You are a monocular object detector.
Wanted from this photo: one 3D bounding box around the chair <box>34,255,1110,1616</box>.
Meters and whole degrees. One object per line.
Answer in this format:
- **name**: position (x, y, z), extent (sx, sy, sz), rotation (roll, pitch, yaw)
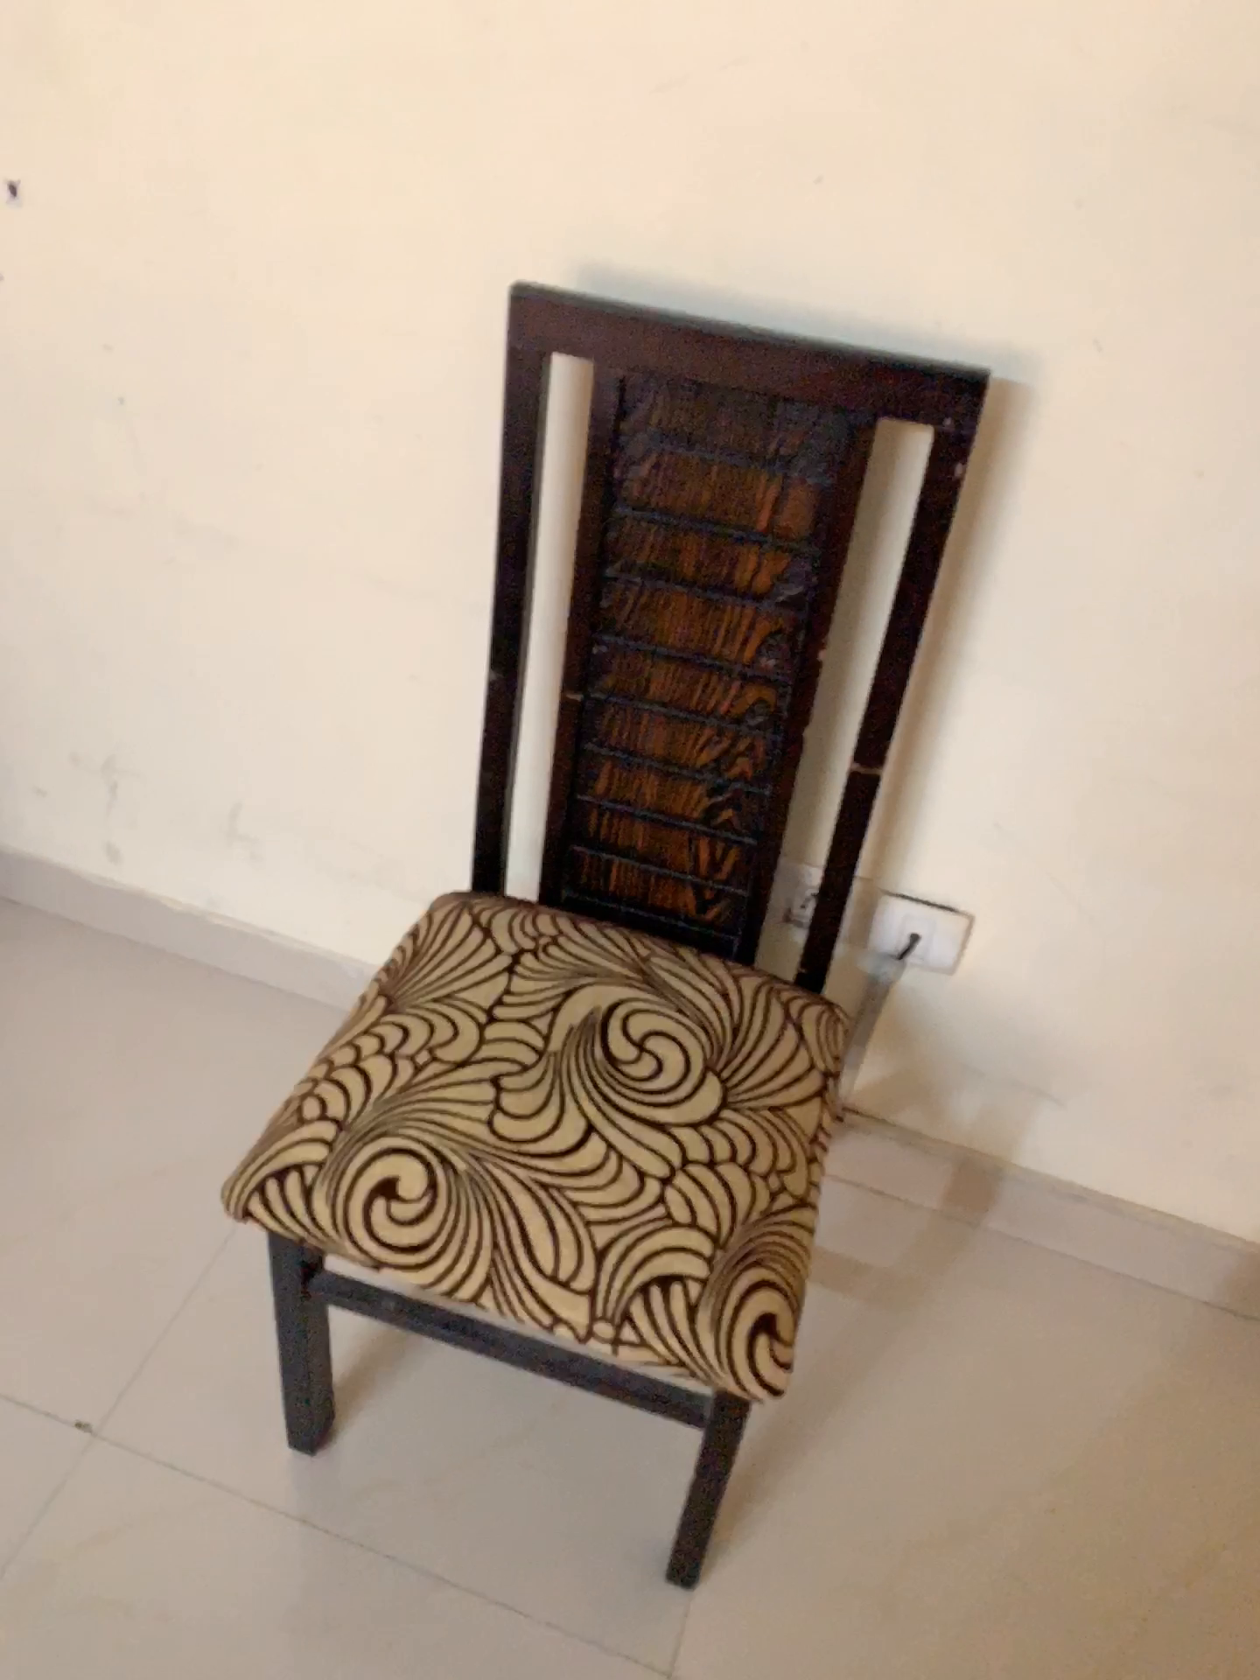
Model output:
- **chair**: position (-0.015, 0.094, 1.106), extent (0.530, 0.922, 0.585), rotation (14, 39, 8)
